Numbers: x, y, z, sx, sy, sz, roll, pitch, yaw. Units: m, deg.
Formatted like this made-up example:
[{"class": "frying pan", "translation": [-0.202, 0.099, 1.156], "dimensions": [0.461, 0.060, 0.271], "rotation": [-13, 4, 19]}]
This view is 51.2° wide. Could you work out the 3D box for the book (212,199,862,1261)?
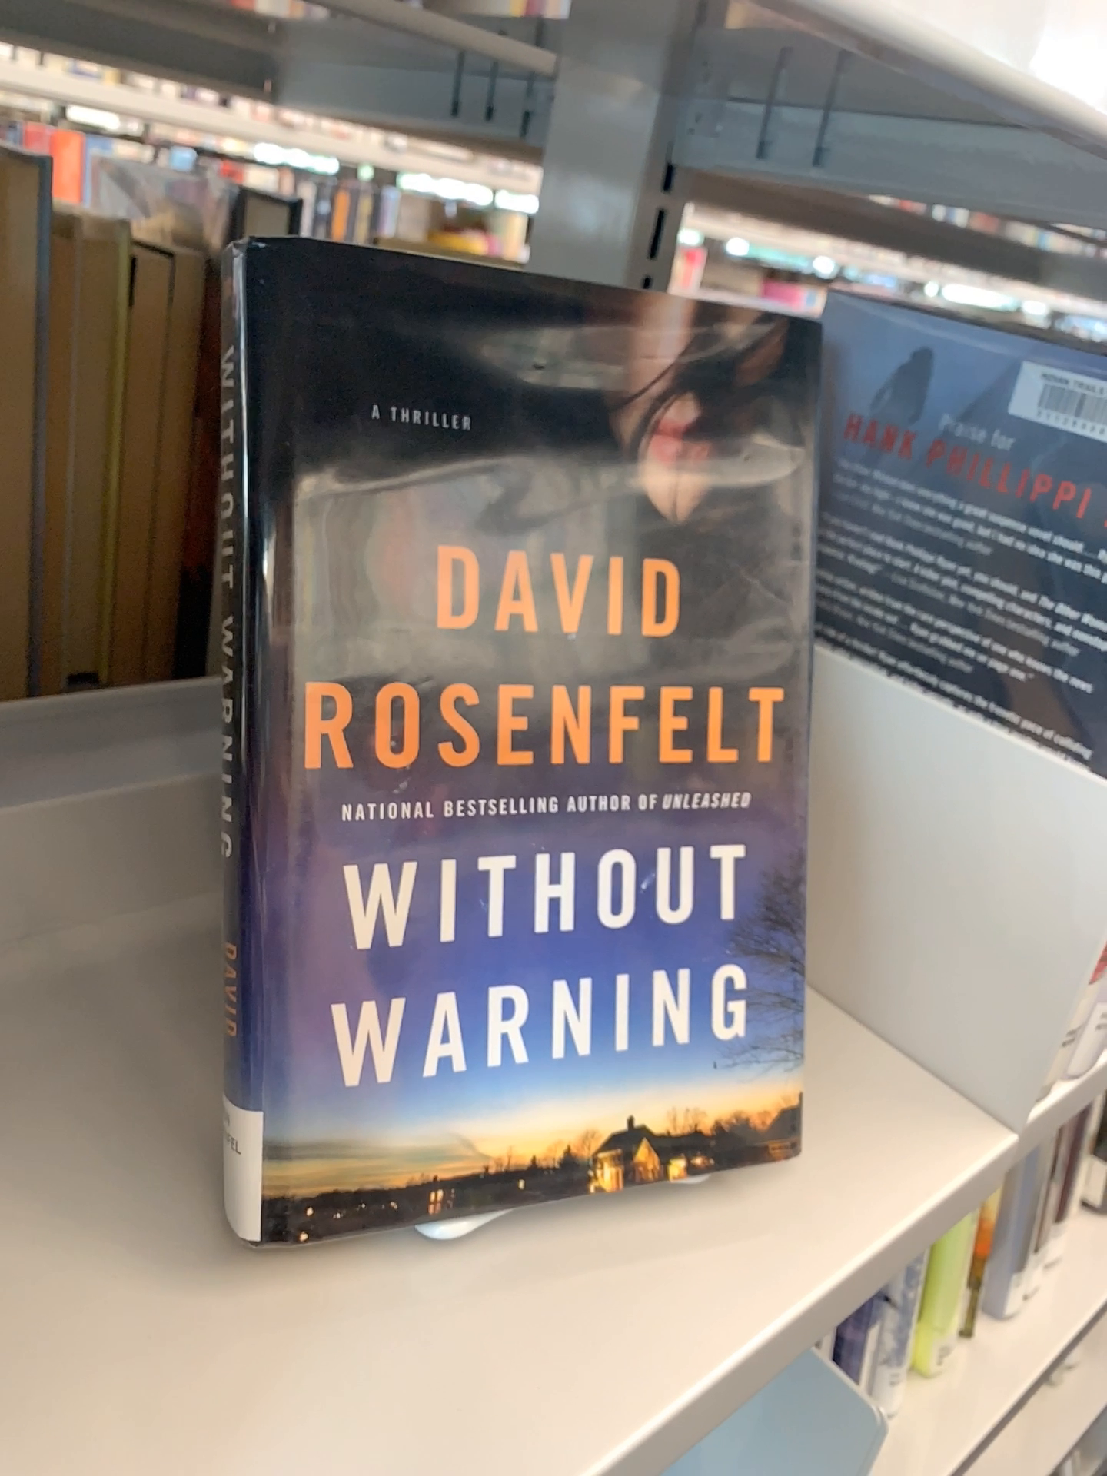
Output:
[{"class": "book", "translation": [-0.002, 0.001, 0.297], "dimensions": [0.157, 0.230, 0.035], "rotation": [0, 4, -24]}]
